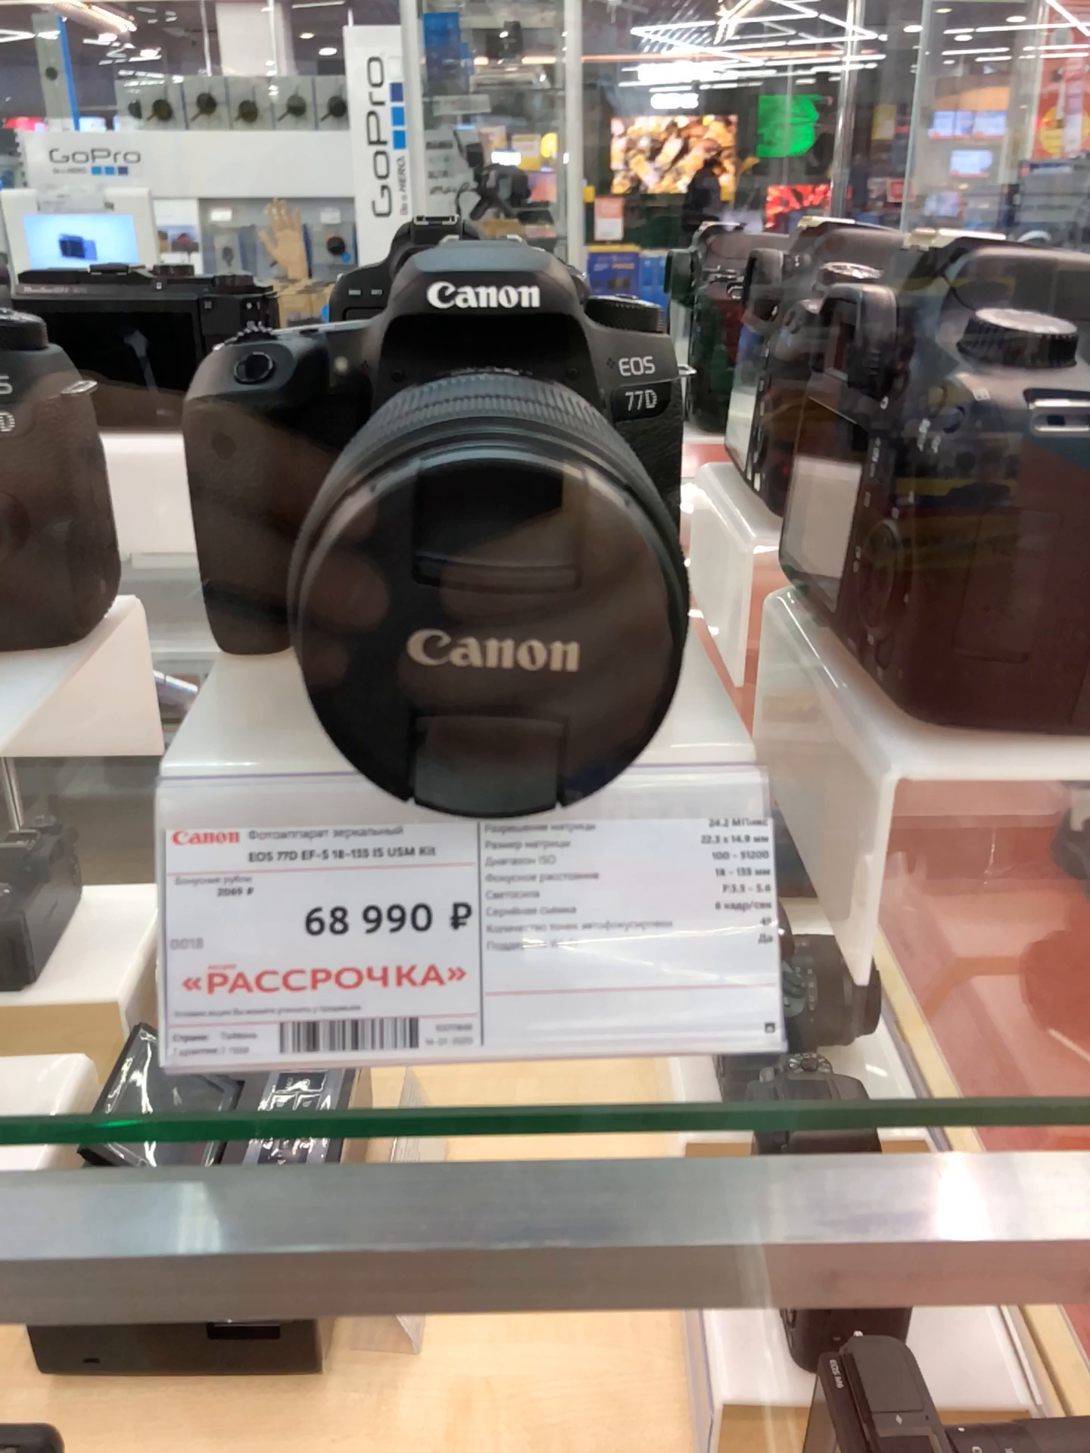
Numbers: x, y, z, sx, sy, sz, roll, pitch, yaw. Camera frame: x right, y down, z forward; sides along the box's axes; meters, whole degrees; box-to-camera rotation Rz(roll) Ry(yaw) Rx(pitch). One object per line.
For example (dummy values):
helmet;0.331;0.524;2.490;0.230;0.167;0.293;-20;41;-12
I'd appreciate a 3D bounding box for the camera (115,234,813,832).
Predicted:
camera;-0.017;-0.066;0.328;0.132;0.119;0.168;-1;24;-2
